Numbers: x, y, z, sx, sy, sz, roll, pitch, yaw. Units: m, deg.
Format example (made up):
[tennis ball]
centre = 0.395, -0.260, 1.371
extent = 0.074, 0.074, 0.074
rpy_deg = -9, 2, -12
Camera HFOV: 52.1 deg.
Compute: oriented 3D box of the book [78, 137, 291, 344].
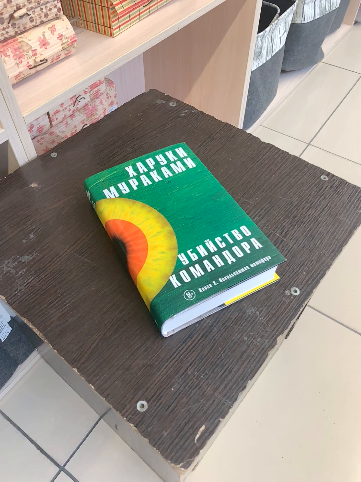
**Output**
[book]
centre = -0.006, -0.017, 0.431
extent = 0.150, 0.050, 0.217
rpy_deg = -23, 58, -18
